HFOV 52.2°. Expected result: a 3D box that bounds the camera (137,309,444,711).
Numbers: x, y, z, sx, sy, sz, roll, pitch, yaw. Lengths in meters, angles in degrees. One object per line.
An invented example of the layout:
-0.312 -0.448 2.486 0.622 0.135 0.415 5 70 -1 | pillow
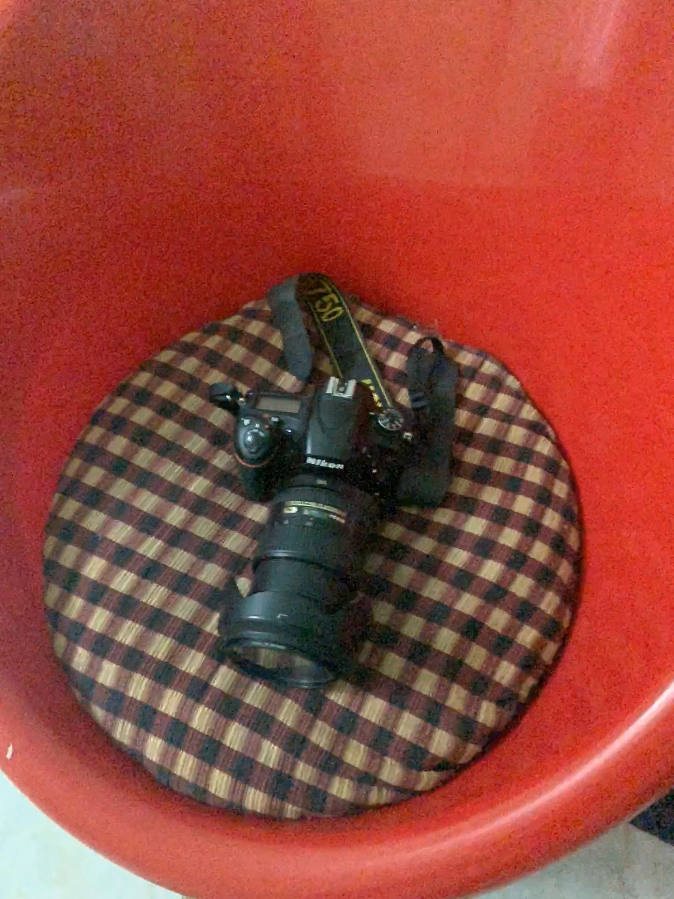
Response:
-0.020 0.054 0.559 0.160 0.180 0.253 10 64 7 | camera
